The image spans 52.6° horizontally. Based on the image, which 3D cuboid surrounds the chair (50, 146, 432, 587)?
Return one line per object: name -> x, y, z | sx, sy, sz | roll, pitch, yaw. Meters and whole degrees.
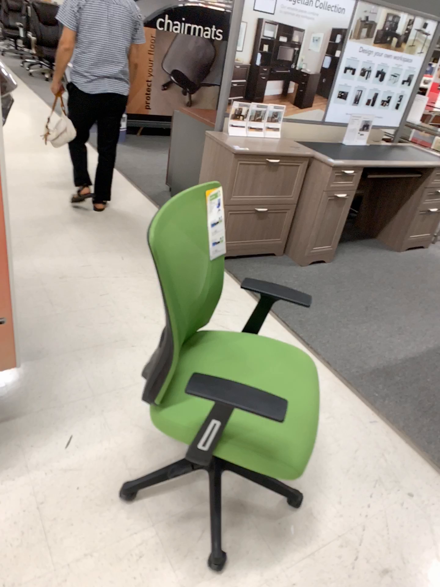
chair -> 0.016, 0.213, 1.289 | 0.670, 0.994, 0.674 | 15, 31, 7
